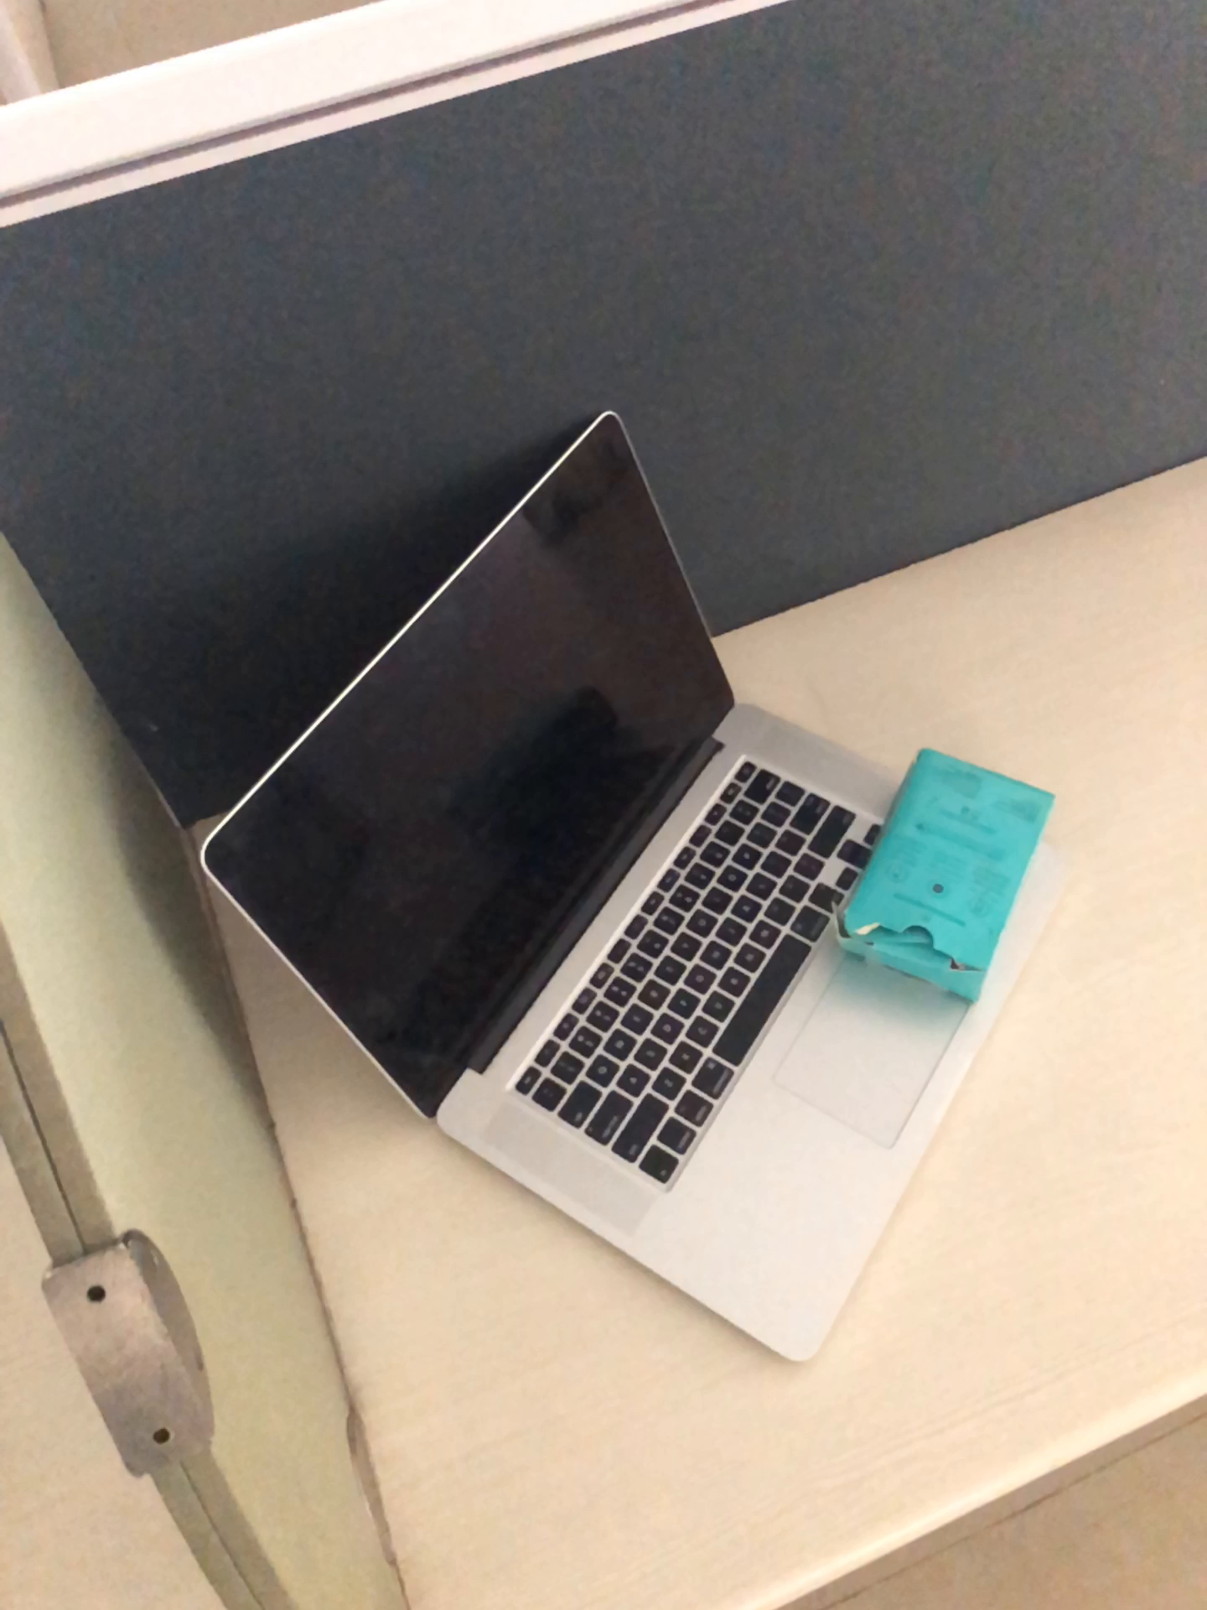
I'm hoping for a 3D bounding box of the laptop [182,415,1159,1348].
[{"bbox_3d":[0.045,0.028,0.717,0.339,0.200,0.329,29,64,19],"label":"laptop"}]
